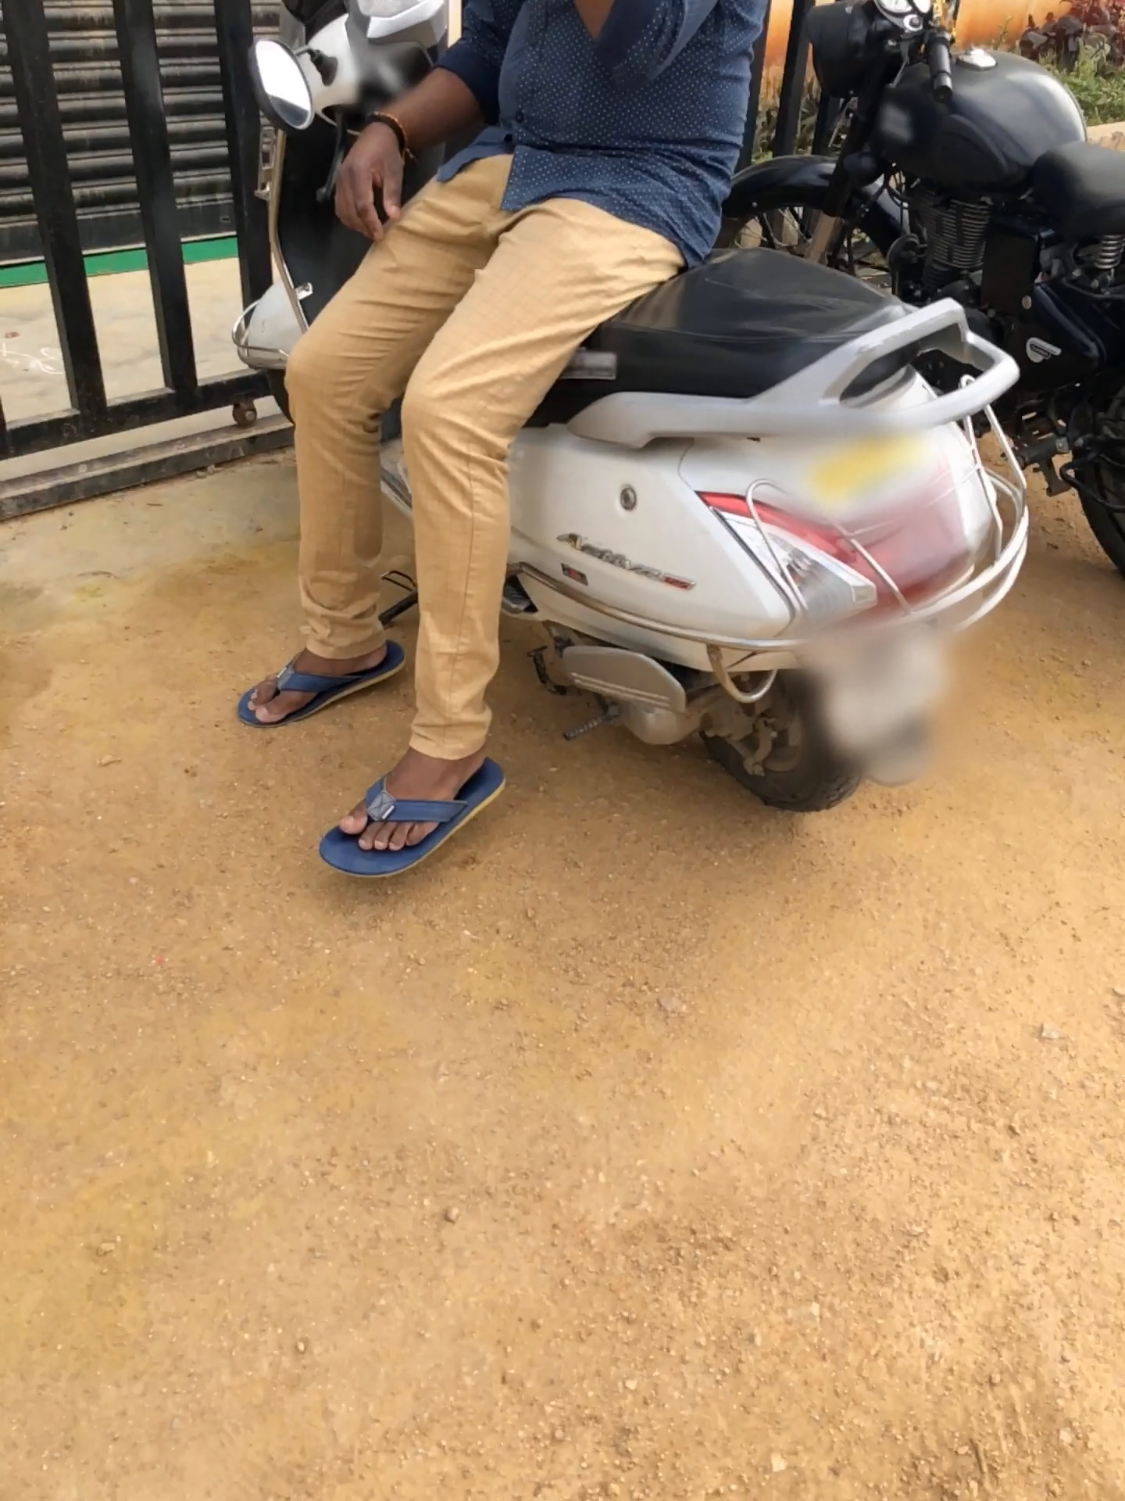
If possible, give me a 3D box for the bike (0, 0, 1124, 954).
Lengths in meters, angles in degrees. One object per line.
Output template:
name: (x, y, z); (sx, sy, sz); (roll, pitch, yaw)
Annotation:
bike: (-0.212, -0.681, 1.933); (0.653, 1.069, 1.646); (-24, 44, -34)
